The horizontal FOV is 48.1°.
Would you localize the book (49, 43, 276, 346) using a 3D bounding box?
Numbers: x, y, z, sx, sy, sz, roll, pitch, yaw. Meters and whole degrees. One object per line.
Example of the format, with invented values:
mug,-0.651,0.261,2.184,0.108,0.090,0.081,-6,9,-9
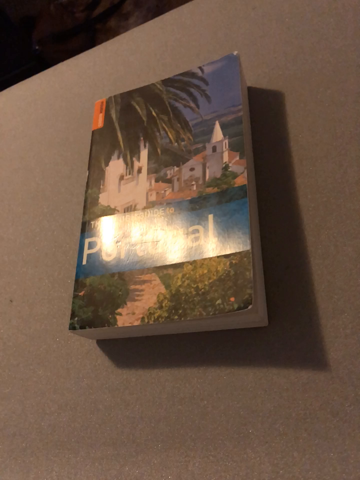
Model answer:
book,-0.014,-0.034,0.297,0.139,0.040,0.204,-11,62,21
